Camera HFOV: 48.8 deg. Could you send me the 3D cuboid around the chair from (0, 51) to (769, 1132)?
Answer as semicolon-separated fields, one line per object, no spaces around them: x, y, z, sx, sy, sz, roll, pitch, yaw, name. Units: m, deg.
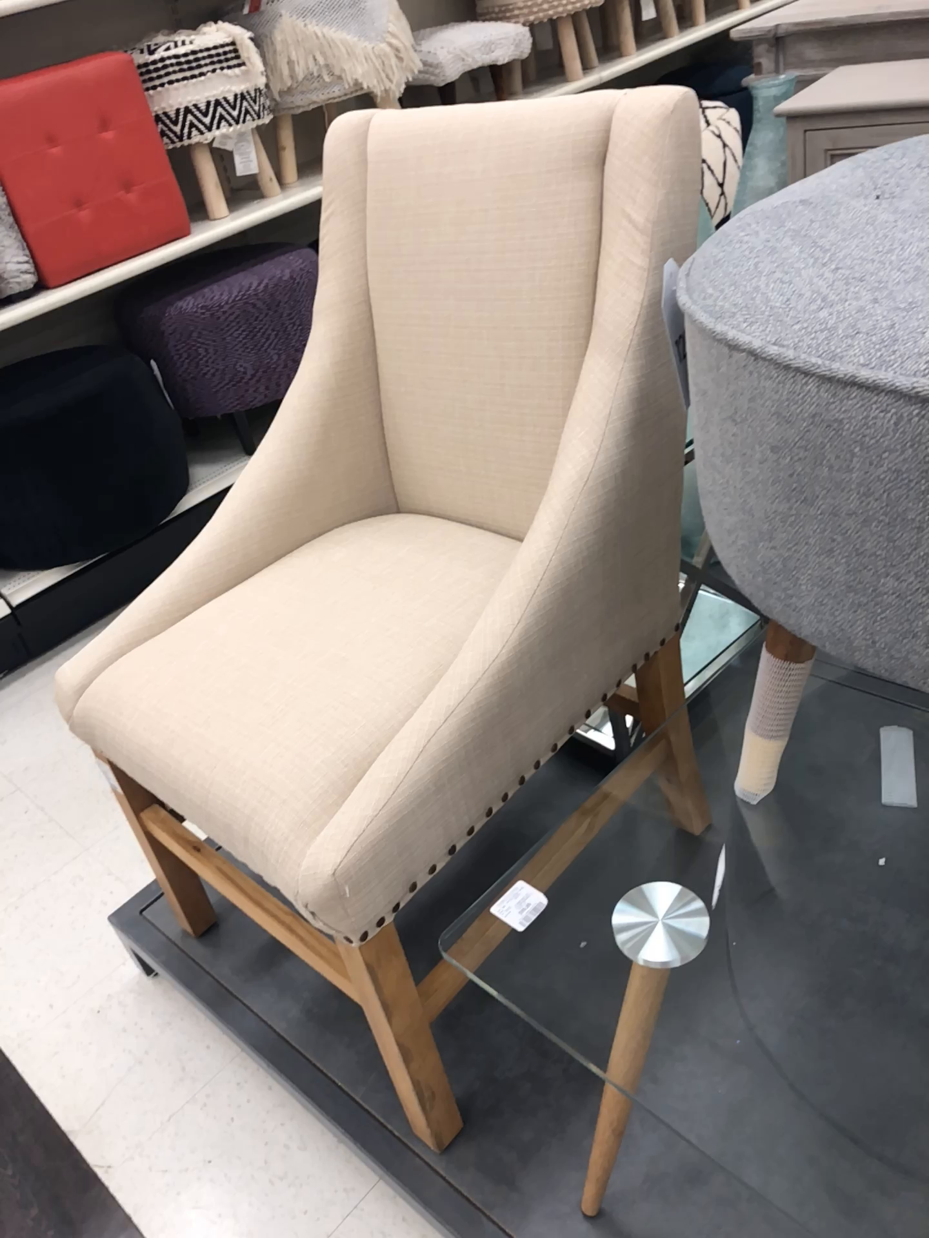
-0.087;-0.061;1.270;0.612;0.966;0.650;21;47;41;chair
